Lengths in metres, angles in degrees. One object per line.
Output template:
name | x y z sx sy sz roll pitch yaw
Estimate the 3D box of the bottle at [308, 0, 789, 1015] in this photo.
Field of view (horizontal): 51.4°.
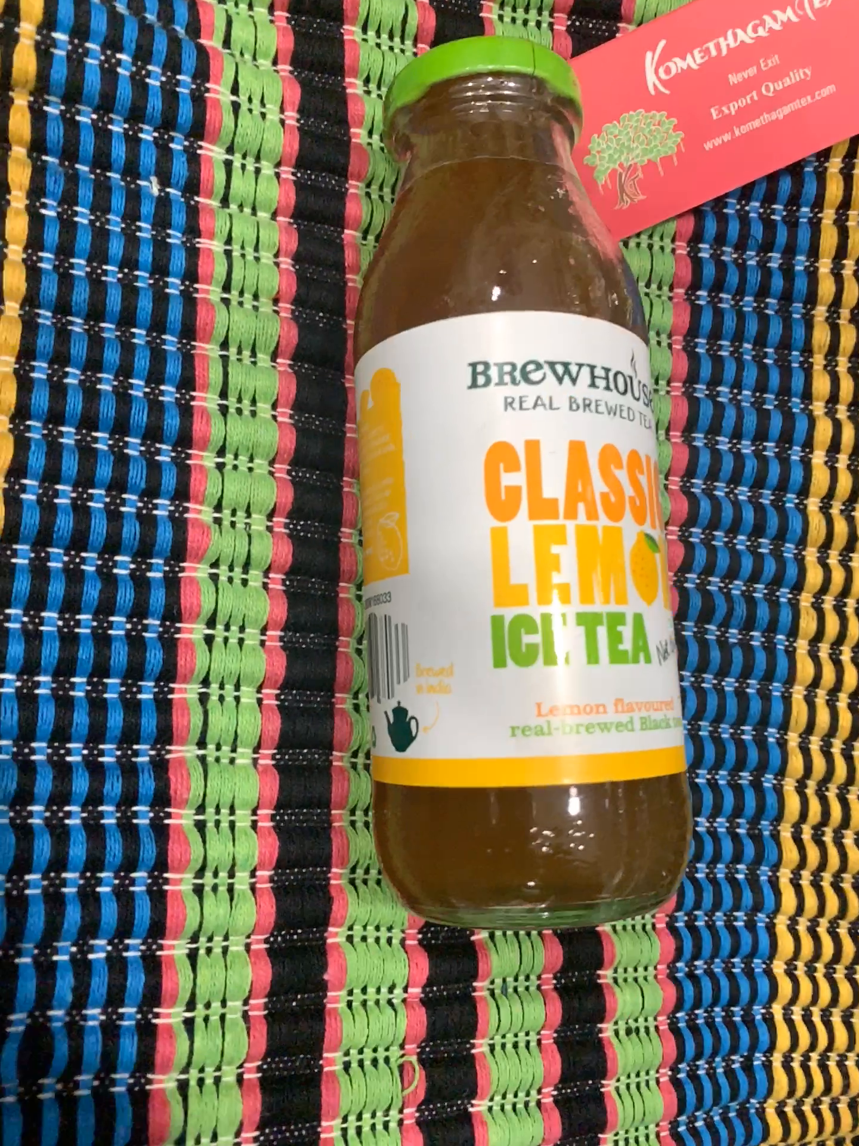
bottle | 0.018 -0.023 0.175 0.060 0.050 0.180 0 81 -27
